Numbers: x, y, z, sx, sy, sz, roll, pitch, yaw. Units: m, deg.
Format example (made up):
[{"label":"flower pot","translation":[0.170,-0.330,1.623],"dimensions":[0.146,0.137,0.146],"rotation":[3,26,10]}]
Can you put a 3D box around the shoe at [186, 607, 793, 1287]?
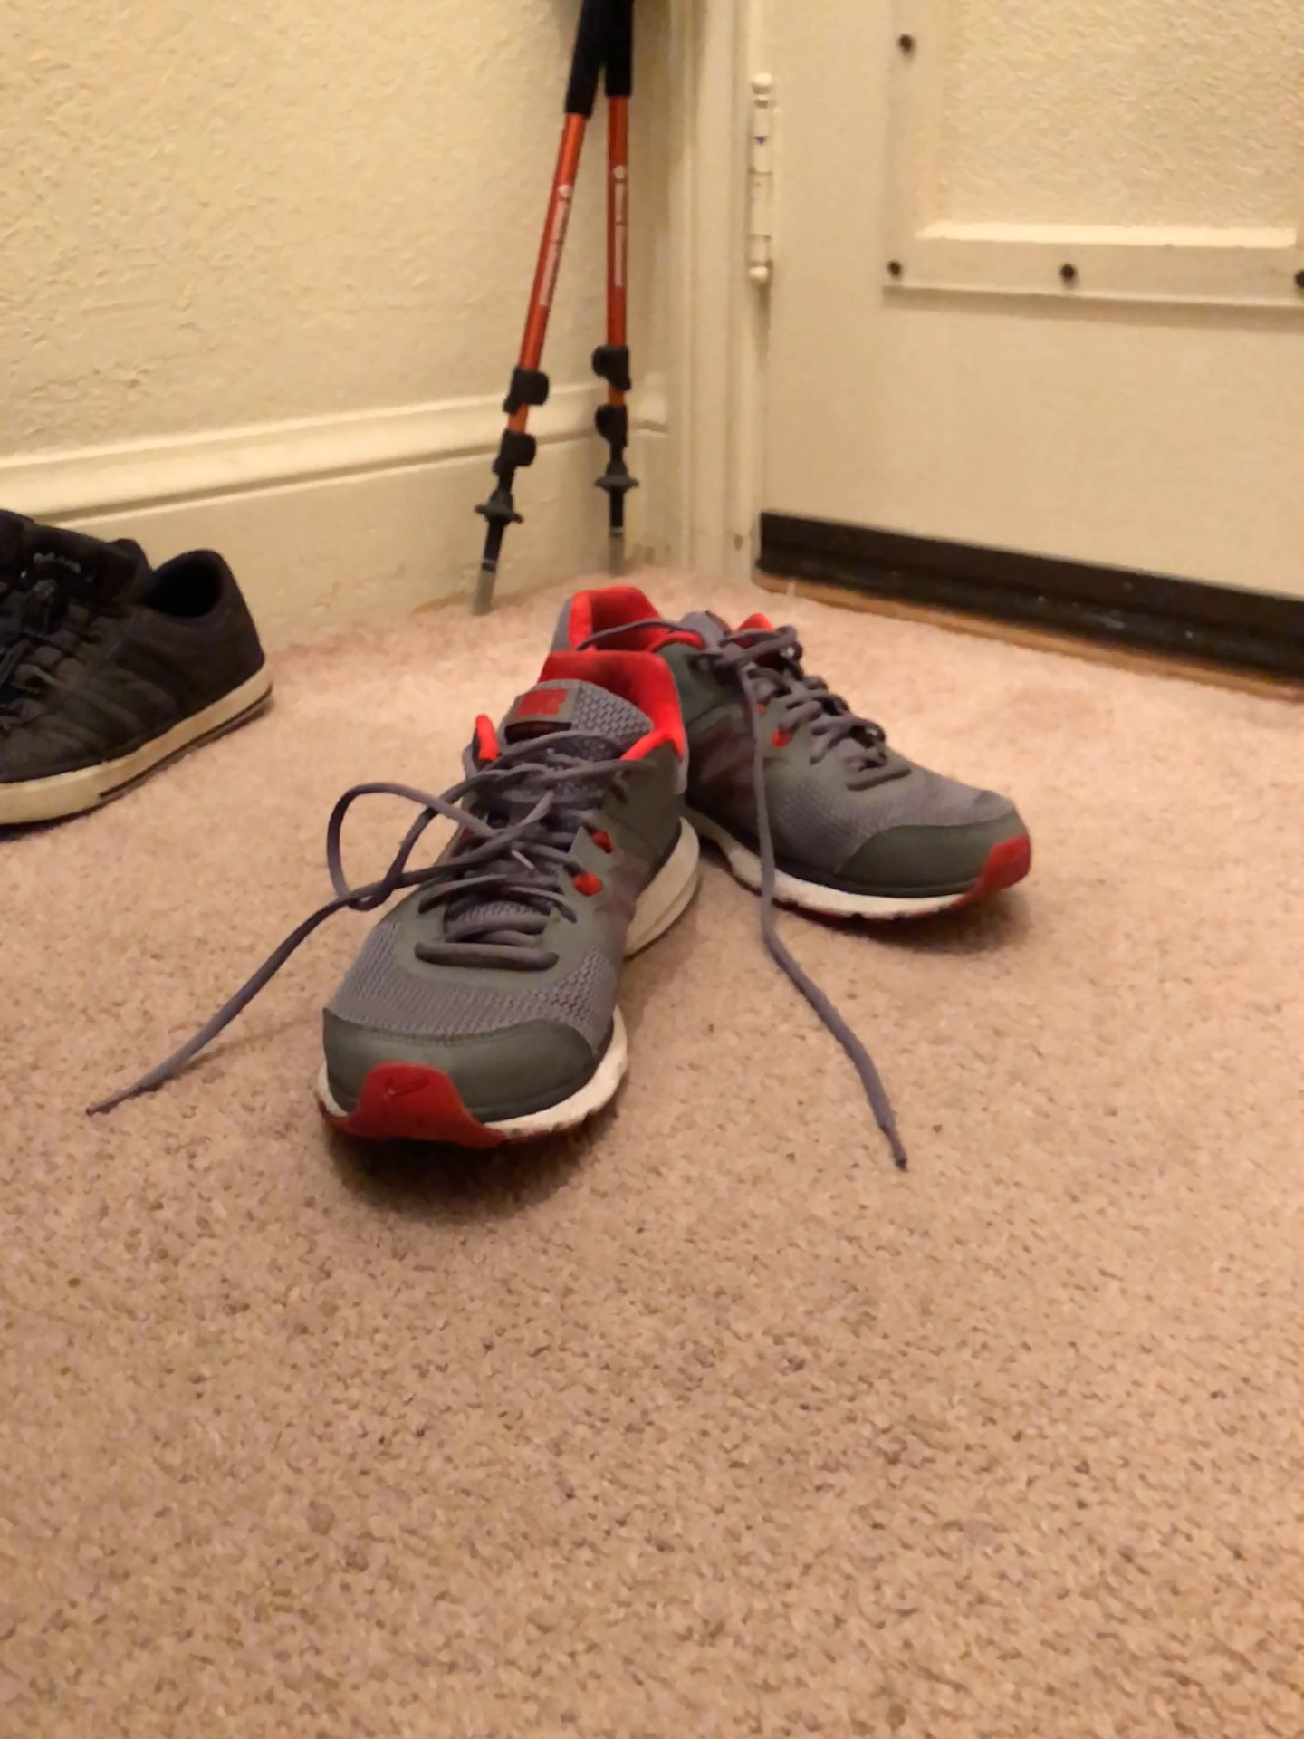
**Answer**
[{"label":"shoe","translation":[-0.035,0.002,0.548],"dimensions":[0.113,0.120,0.299],"rotation":[7,27,15]}]

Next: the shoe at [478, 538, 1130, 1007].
[{"label":"shoe","translation":[0.054,-0.063,0.681],"dimensions":[0.113,0.120,0.298],"rotation":[-21,33,-37]}]
